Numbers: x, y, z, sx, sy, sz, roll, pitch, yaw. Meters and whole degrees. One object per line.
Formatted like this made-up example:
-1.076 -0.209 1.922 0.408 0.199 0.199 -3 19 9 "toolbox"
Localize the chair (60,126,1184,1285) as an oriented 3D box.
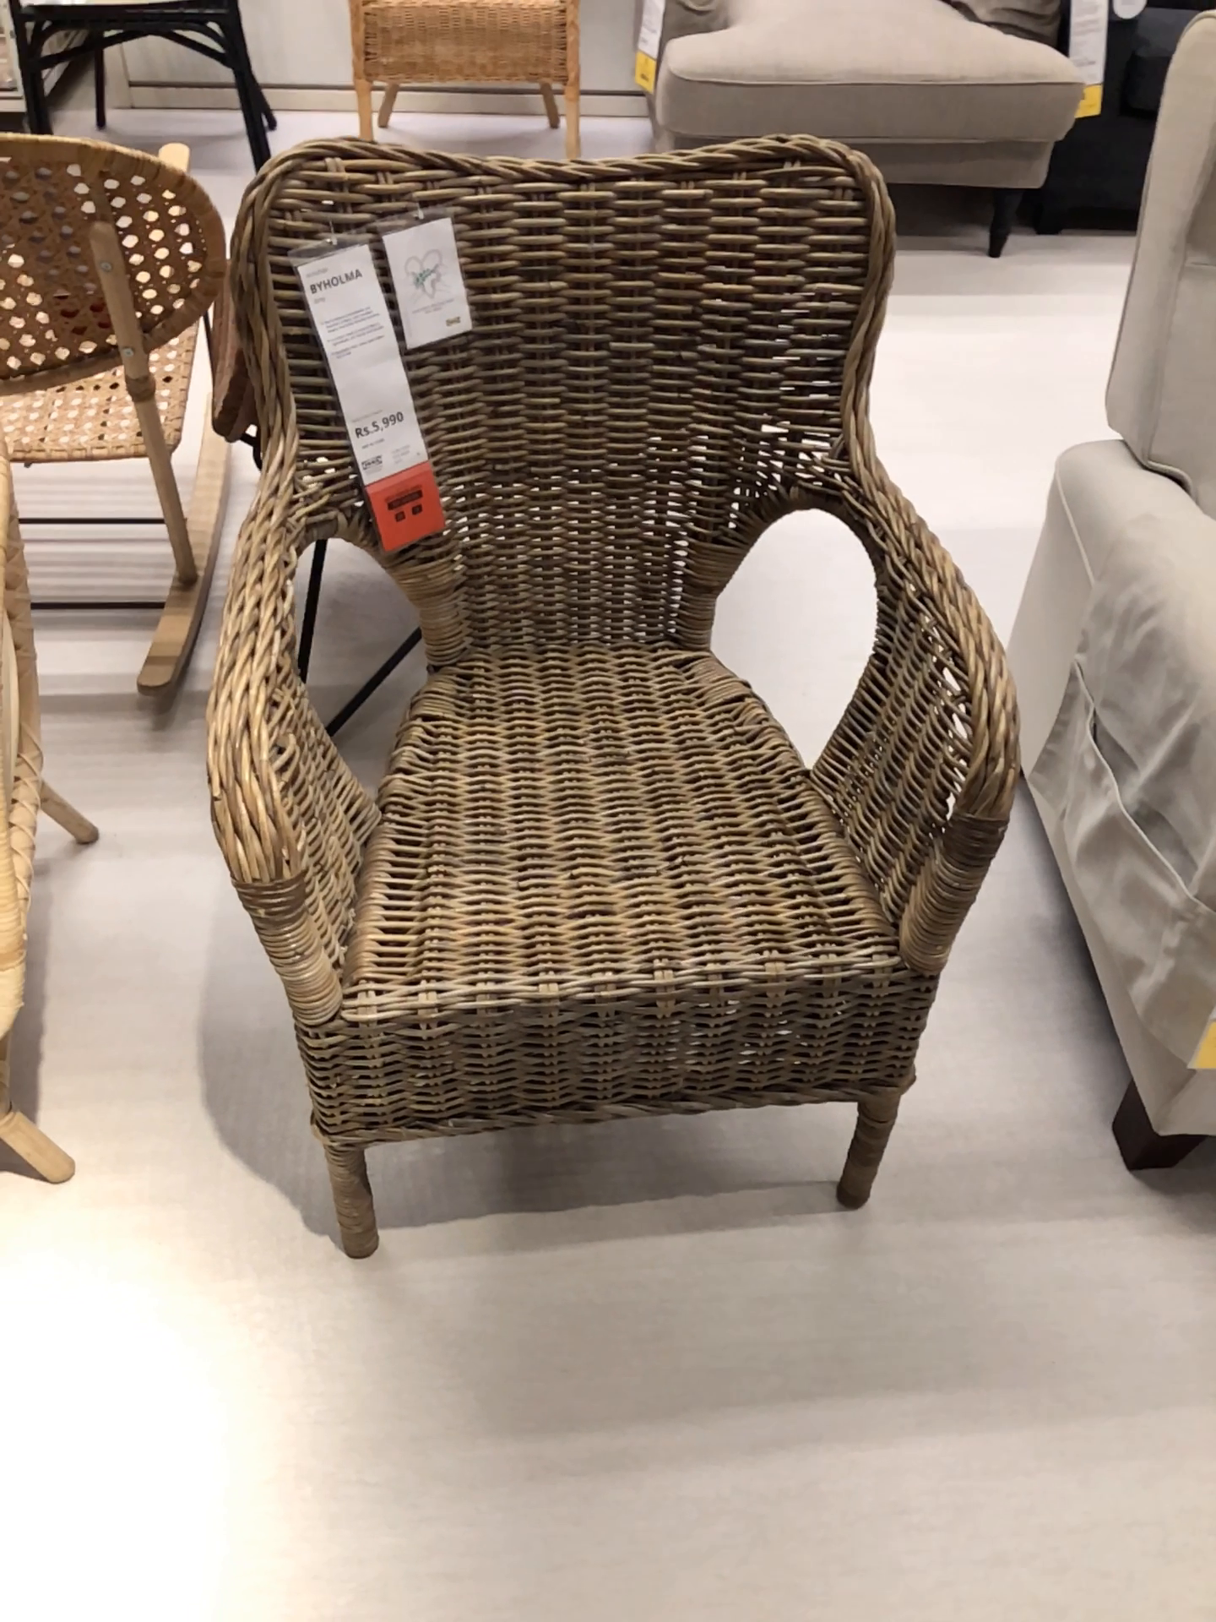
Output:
-0.031 -0.078 1.356 0.670 0.924 0.684 -3 47 -6 "chair"
